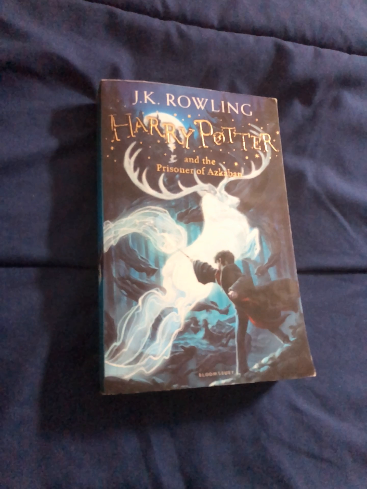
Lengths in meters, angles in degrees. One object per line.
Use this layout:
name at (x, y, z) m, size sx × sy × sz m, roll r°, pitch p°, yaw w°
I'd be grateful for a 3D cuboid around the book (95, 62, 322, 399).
book at (0.011, -0.011, 0.272) m, size 0.134 × 0.045 × 0.200 m, roll 1°, pitch 77°, yaw -15°
